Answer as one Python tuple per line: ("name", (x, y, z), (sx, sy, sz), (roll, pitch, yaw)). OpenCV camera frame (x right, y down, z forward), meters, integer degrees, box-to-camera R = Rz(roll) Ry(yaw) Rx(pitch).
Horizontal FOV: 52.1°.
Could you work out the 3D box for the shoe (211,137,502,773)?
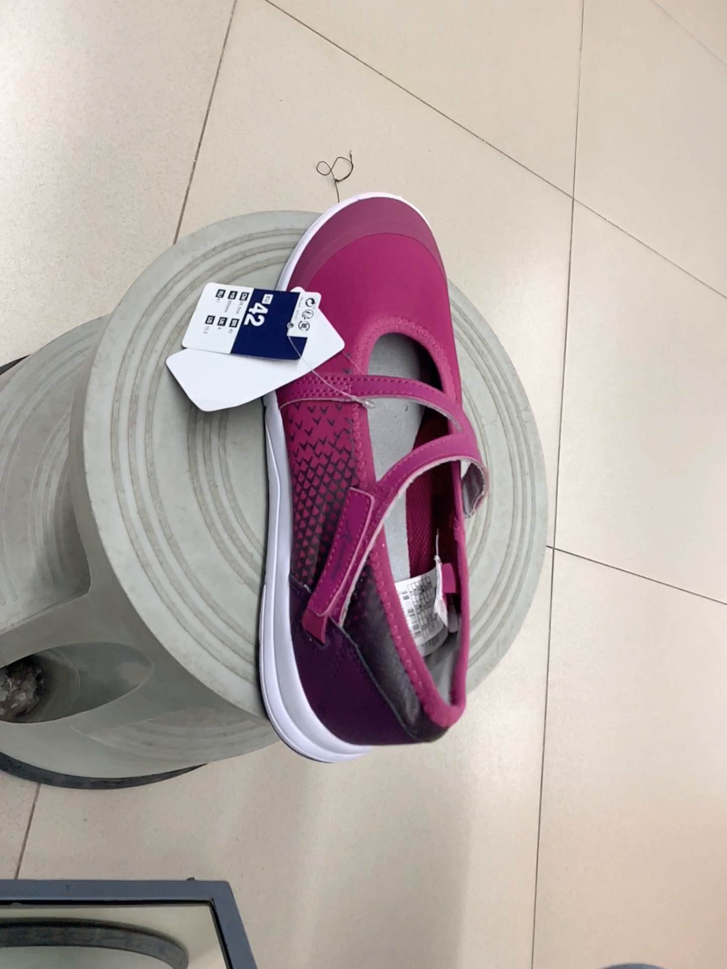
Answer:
("shoe", (0.000, -0.011, 0.345), (0.100, 0.070, 0.260), (11, 73, -31))
